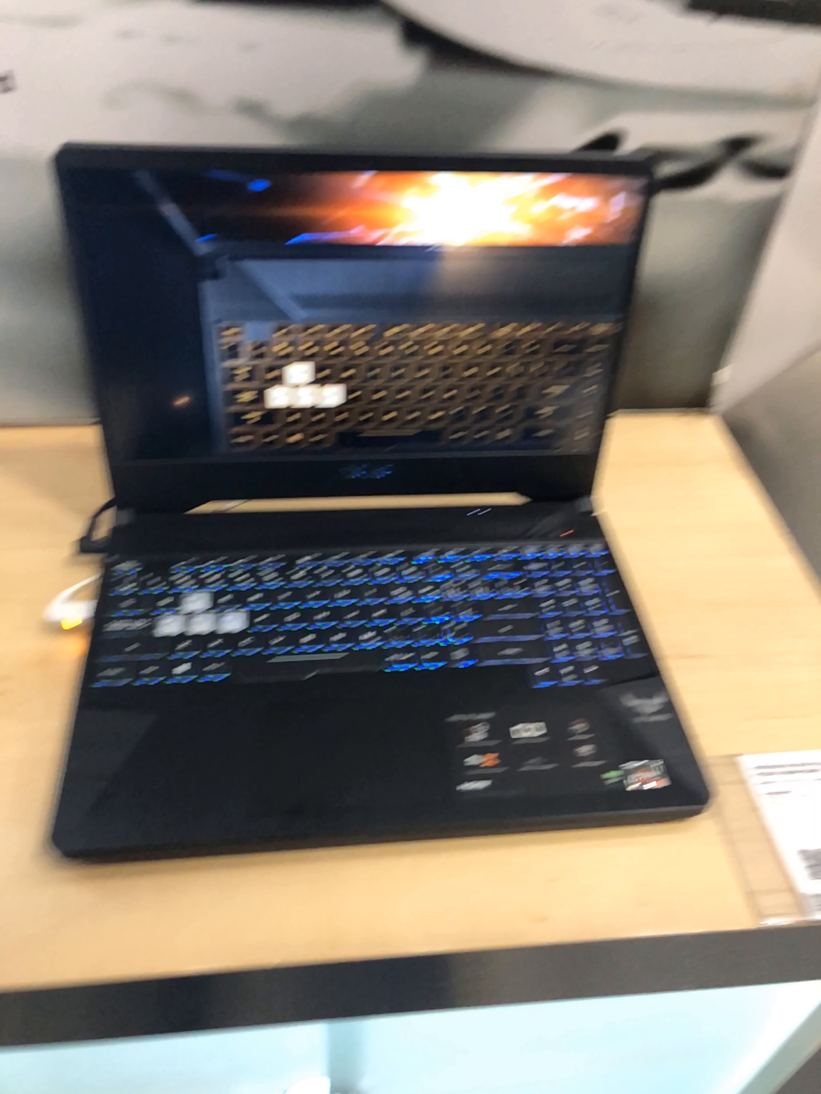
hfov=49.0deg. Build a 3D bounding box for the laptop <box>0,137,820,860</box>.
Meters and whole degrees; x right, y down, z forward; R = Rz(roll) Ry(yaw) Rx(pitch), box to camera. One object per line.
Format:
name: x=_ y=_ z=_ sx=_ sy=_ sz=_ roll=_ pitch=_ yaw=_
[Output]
laptop: x=-0.020 y=-0.045 z=0.509 sx=0.358 sy=0.245 sz=0.310 roll=-2 pitch=43 yaw=-7
